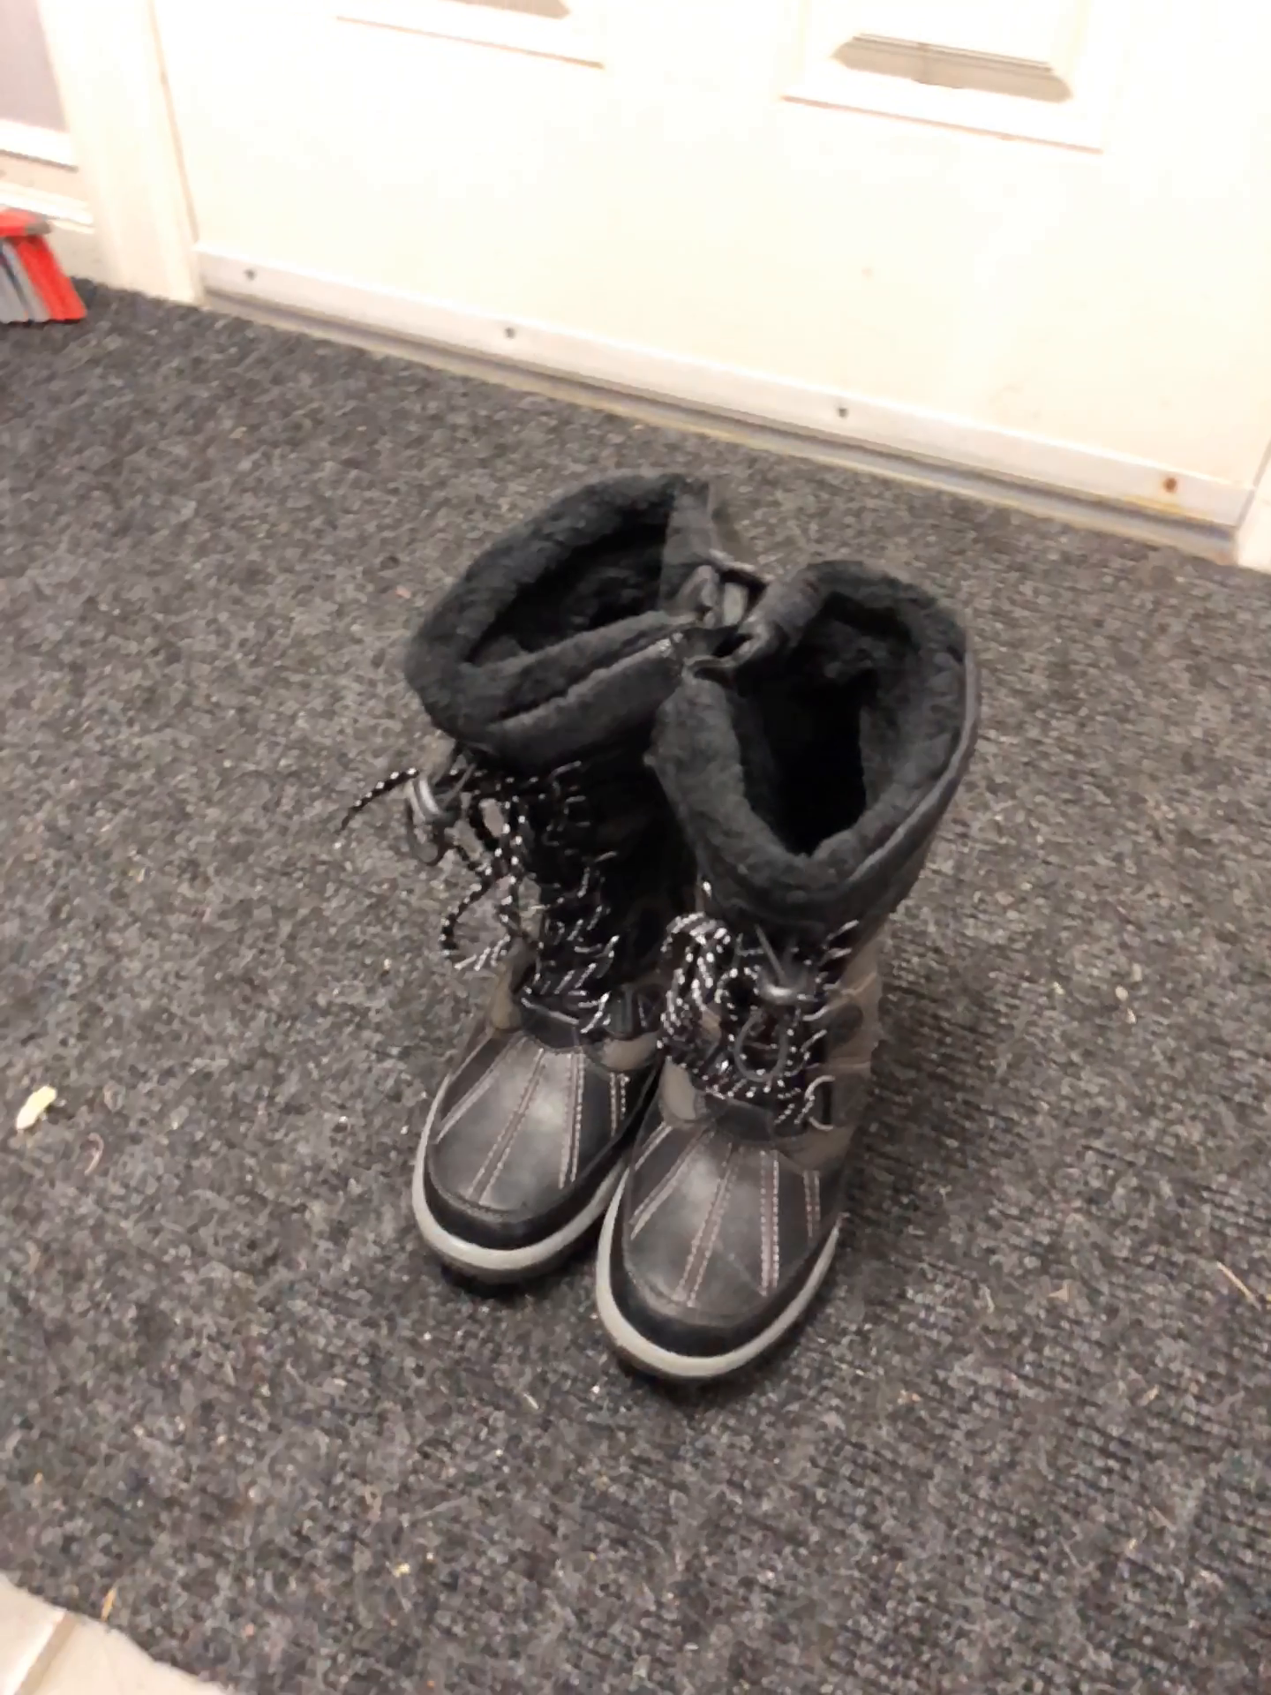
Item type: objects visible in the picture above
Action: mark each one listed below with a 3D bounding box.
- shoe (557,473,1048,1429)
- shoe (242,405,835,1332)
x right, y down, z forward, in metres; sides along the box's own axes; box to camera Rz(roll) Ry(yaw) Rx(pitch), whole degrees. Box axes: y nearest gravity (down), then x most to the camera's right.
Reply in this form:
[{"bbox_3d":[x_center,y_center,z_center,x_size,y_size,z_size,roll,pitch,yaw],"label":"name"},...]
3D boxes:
[{"bbox_3d":[0.065,0.042,0.566,0.100,0.269,0.261,16,47,12],"label":"shoe"},{"bbox_3d":[-0.023,0.008,0.588,0.110,0.269,0.261,17,48,14],"label":"shoe"}]
